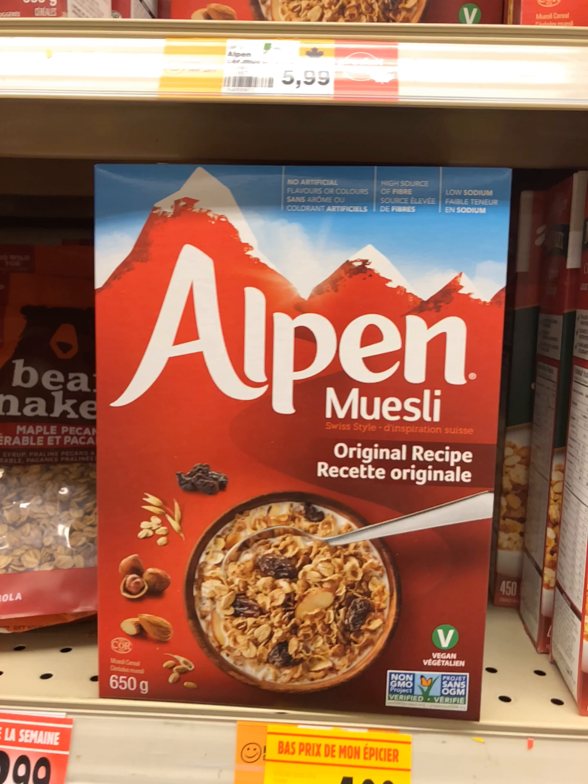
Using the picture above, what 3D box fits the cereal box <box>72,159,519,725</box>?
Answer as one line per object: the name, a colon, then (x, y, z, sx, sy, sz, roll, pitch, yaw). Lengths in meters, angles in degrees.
cereal box: (-0.003, 0.022, 0.309, 0.180, 0.239, 0.060, 2, 8, 2)
